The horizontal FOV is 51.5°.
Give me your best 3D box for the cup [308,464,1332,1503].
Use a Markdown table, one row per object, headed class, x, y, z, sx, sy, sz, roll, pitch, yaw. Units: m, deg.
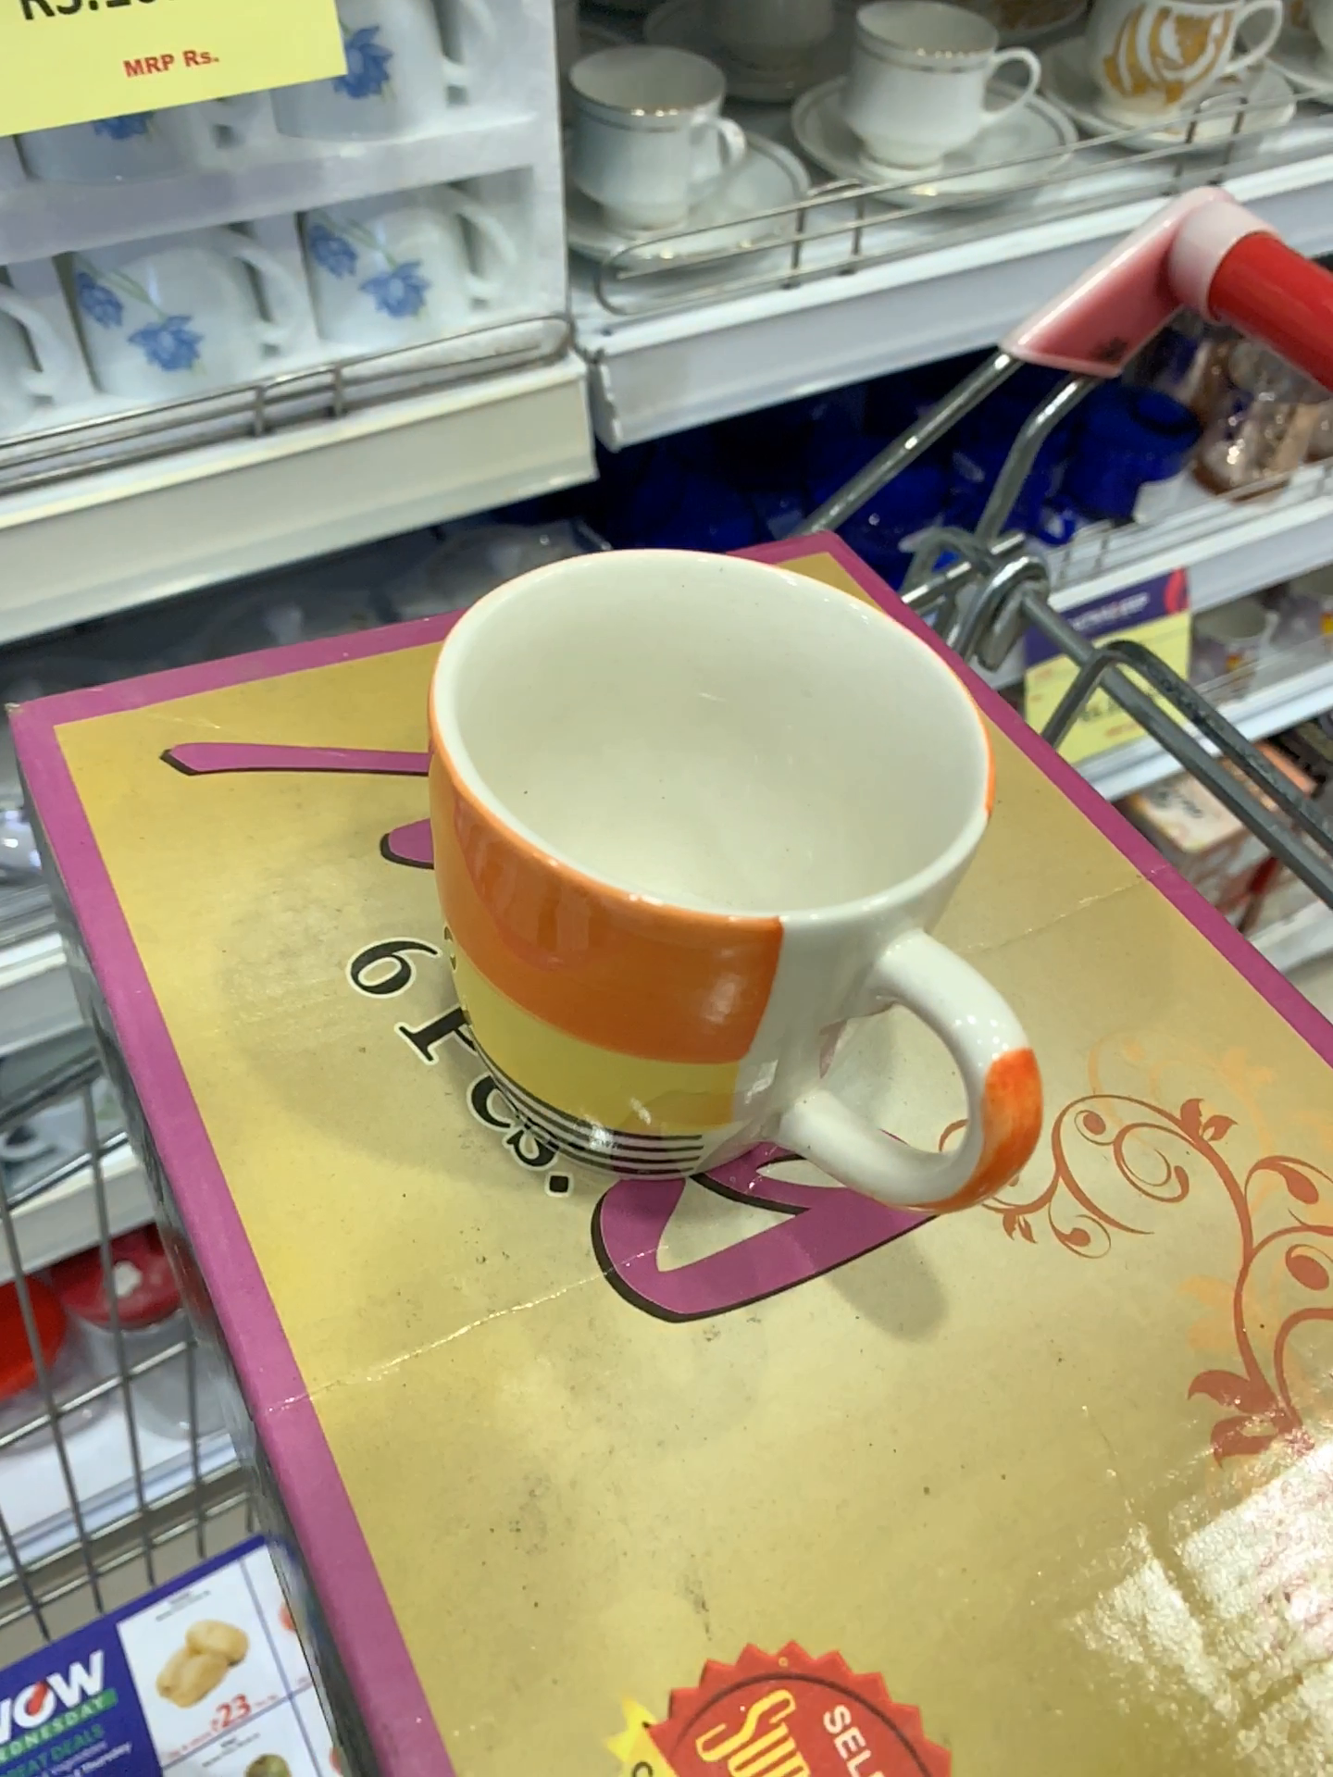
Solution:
| class | x | y | z | sx | sy | sz | roll | pitch | yaw |
| --- | --- | --- | --- | --- | --- | --- | --- | --- | --- |
| cup | 0.013 | 0.006 | 0.181 | 0.080 | 0.070 | 0.090 | -25 | 55 | -31 |
